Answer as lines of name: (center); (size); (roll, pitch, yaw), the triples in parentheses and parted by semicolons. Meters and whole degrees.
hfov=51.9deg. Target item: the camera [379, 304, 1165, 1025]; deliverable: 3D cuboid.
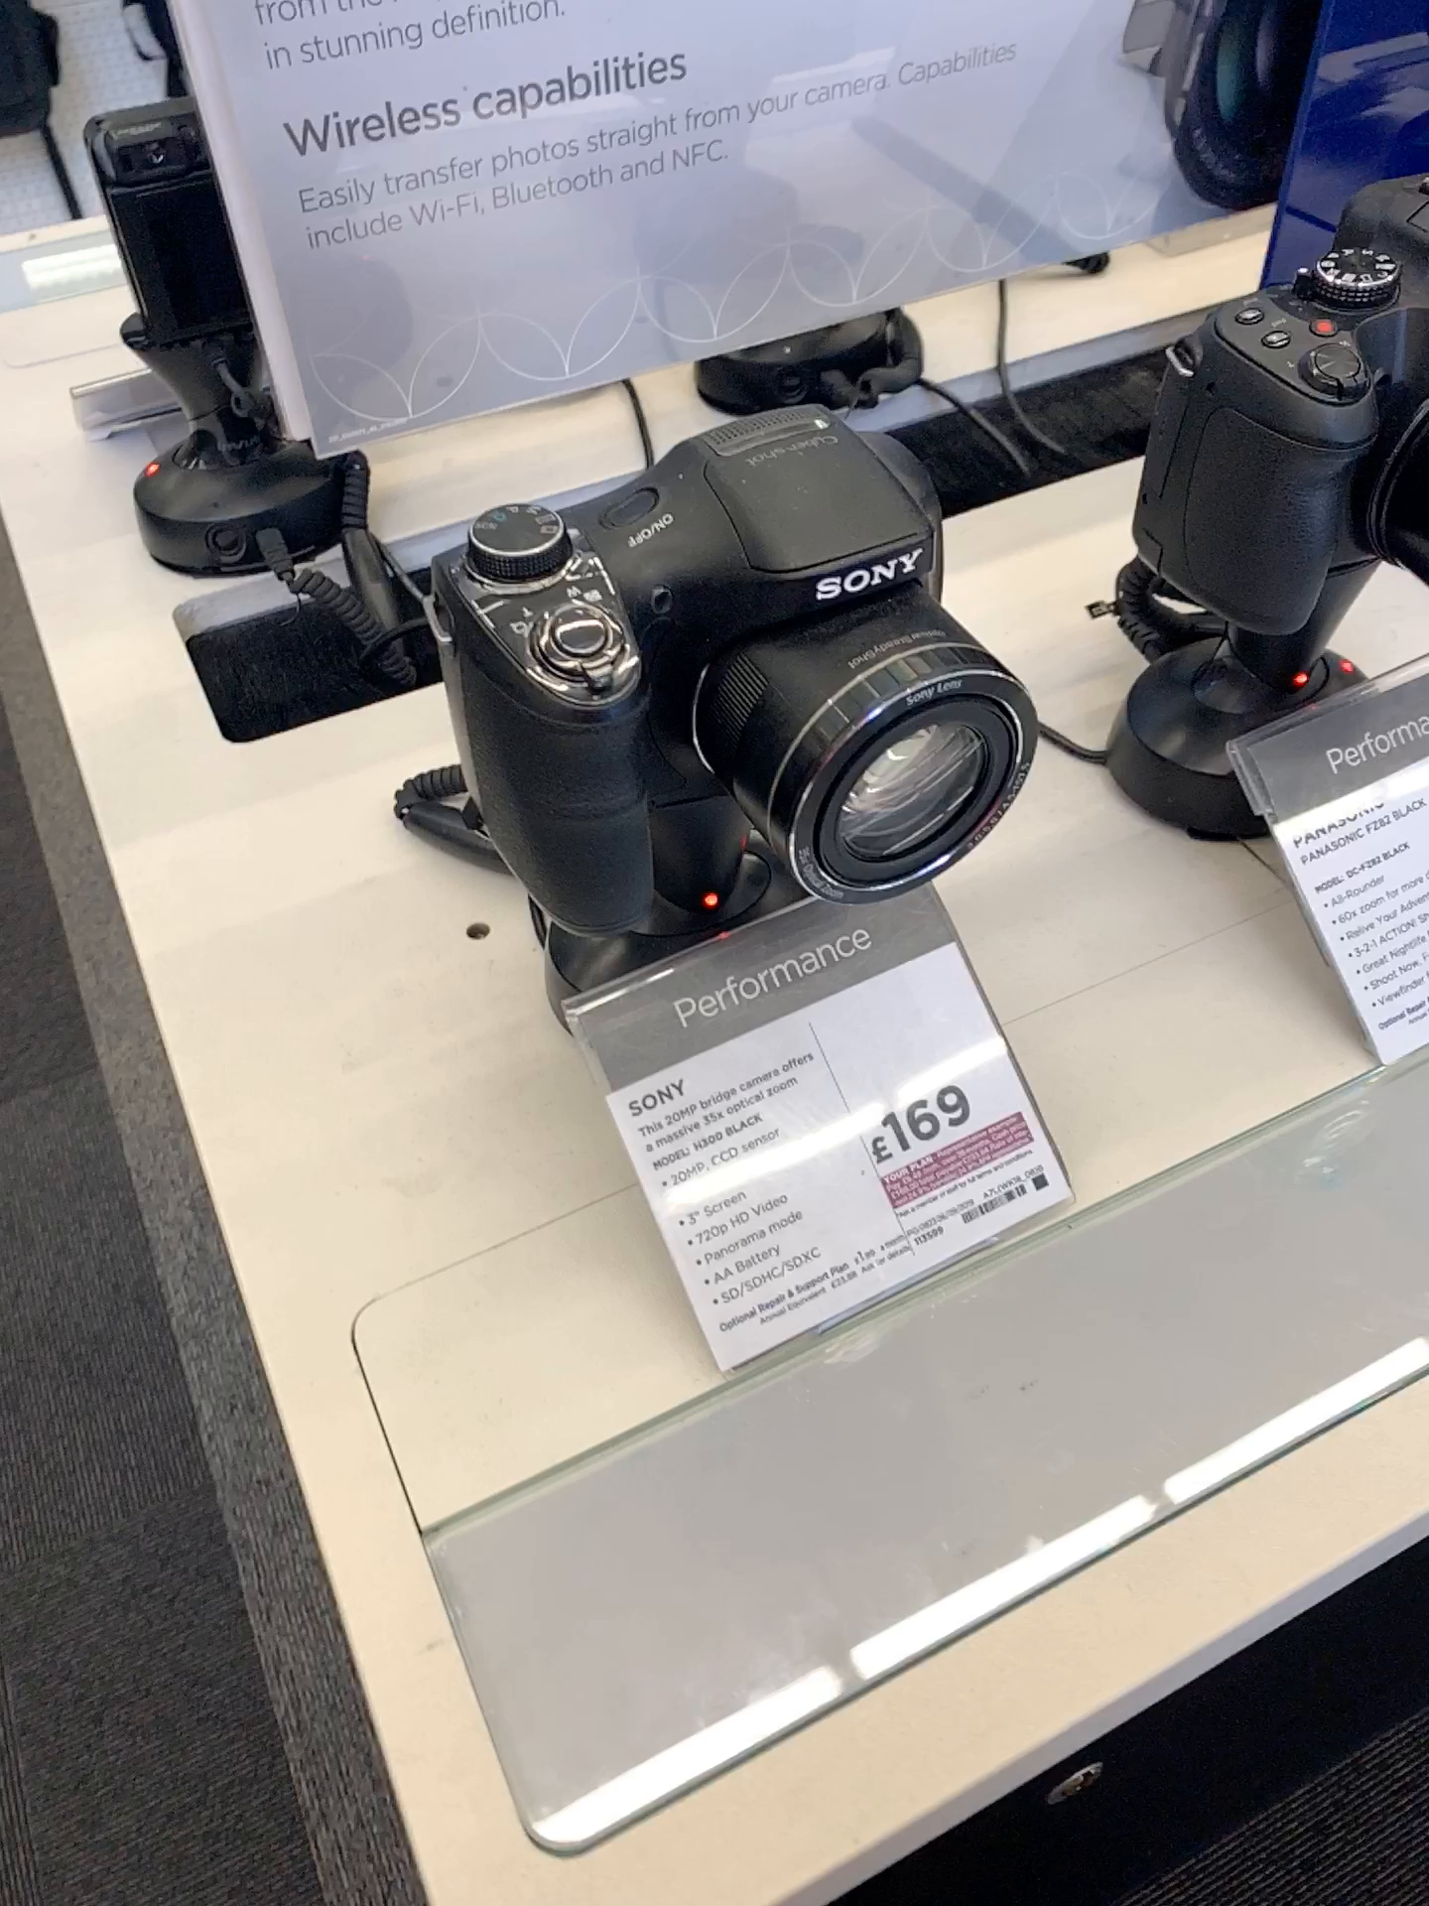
camera: (0.010, -0.067, 0.327); (0.130, 0.089, 0.091); (-21, 51, -16)
